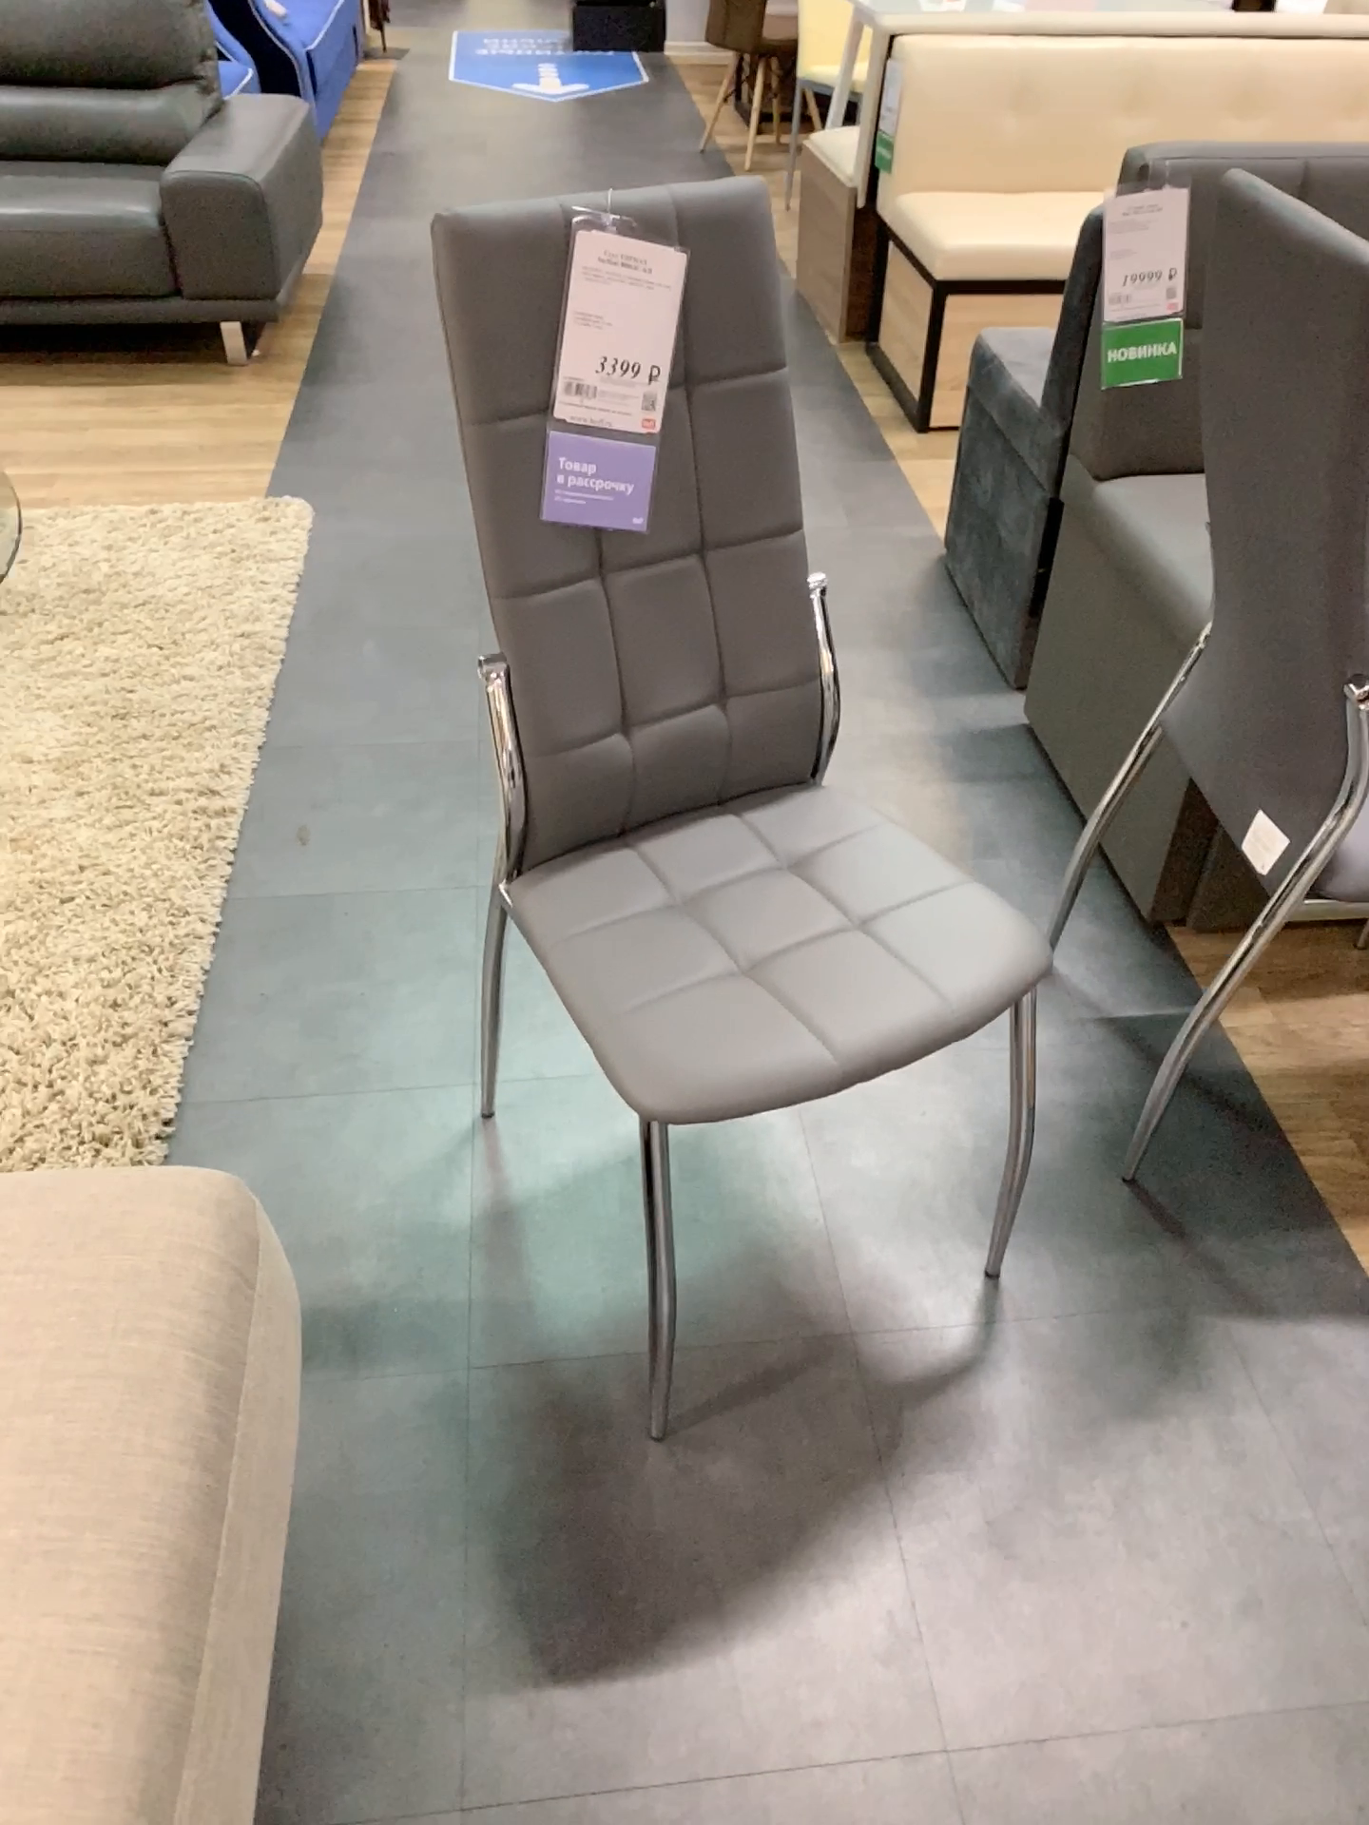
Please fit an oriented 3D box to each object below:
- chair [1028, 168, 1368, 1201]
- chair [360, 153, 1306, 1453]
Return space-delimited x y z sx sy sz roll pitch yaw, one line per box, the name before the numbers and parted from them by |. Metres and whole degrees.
chair | 0.794 -0.199 1.546 0.550 1.024 0.453 -1 39 -3
chair | 0.066 -0.079 1.333 0.471 1.024 0.532 -18 43 -22
